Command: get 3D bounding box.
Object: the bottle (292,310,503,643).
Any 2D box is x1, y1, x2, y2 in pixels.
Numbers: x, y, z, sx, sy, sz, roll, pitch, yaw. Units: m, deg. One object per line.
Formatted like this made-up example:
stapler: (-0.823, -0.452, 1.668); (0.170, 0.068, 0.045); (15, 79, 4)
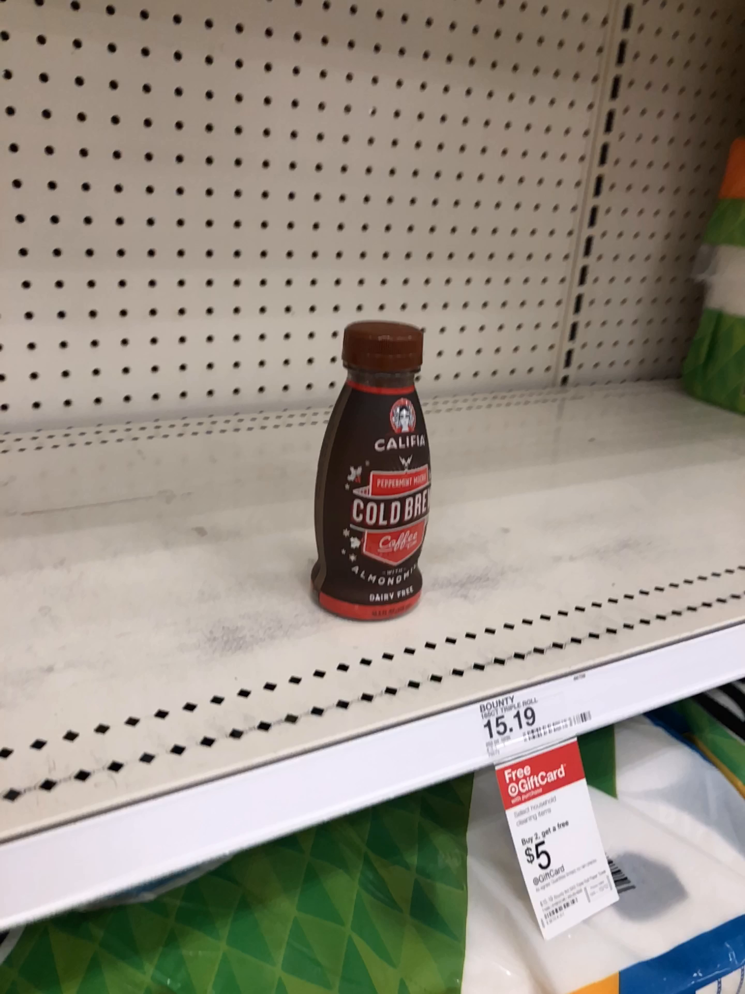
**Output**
bottle: (0.007, -0.014, 0.432); (0.070, 0.149, 0.080); (-7, 25, -24)
